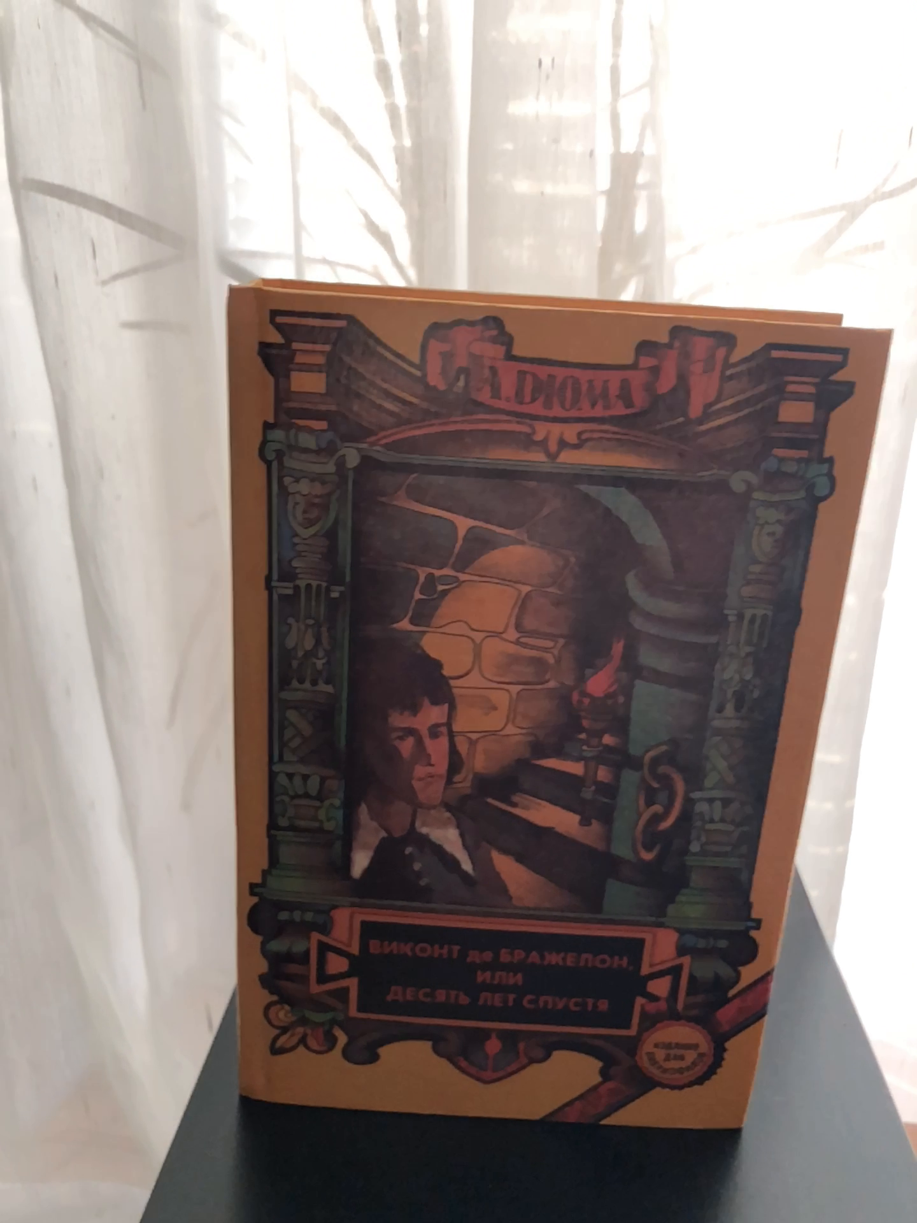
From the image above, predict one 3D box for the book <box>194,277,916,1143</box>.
[{"bbox_3d":[0.017,0.030,0.256,0.142,0.209,0.045,3,20,1],"label":"book"}]
